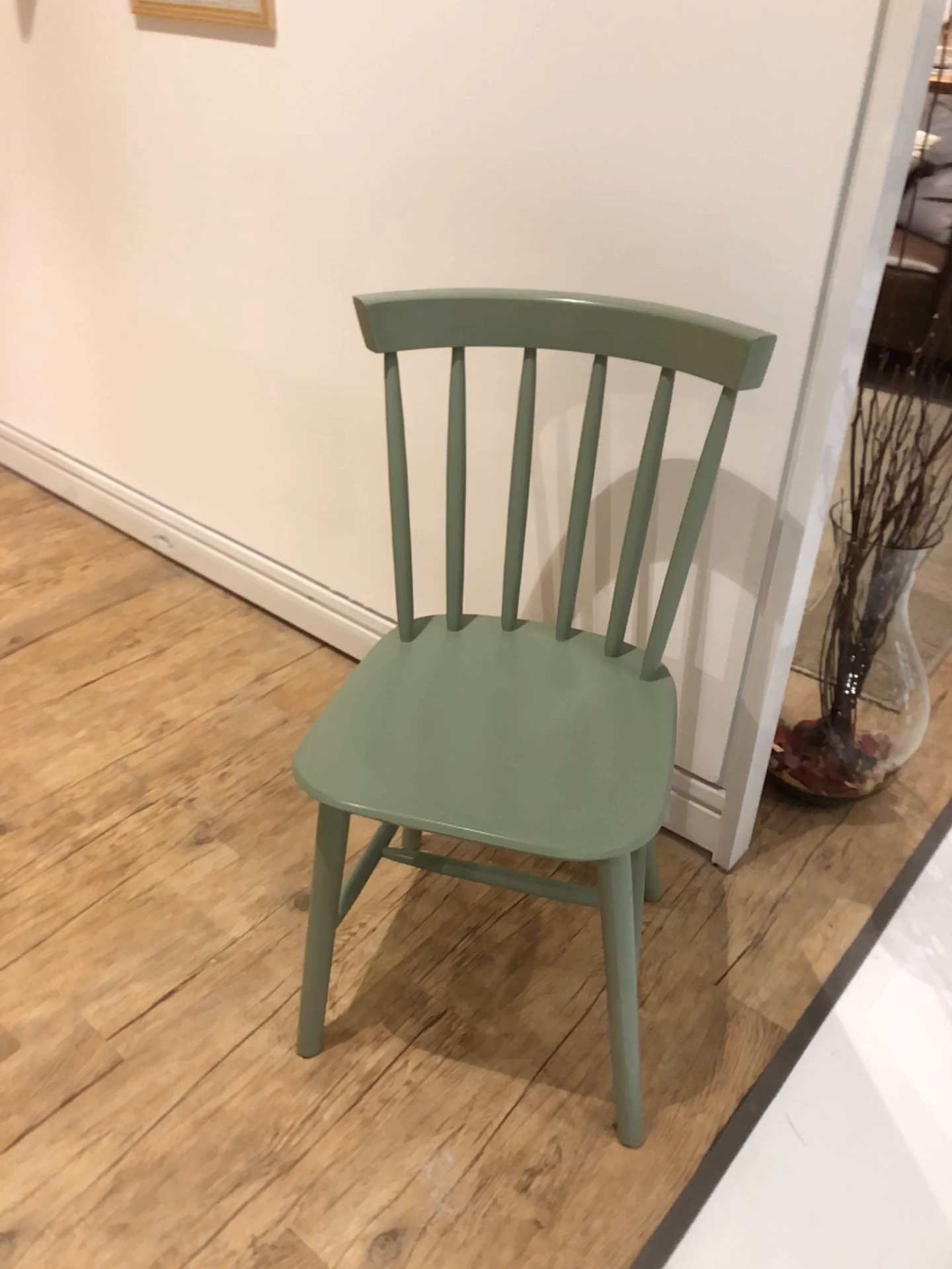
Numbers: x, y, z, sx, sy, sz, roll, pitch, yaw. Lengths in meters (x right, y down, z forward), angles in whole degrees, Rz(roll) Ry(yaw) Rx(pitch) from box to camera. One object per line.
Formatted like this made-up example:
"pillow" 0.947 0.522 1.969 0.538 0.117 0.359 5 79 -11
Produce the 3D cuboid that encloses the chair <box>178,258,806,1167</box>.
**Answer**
"chair" 0.050 0.069 1.207 0.470 0.813 0.524 10 33 13
